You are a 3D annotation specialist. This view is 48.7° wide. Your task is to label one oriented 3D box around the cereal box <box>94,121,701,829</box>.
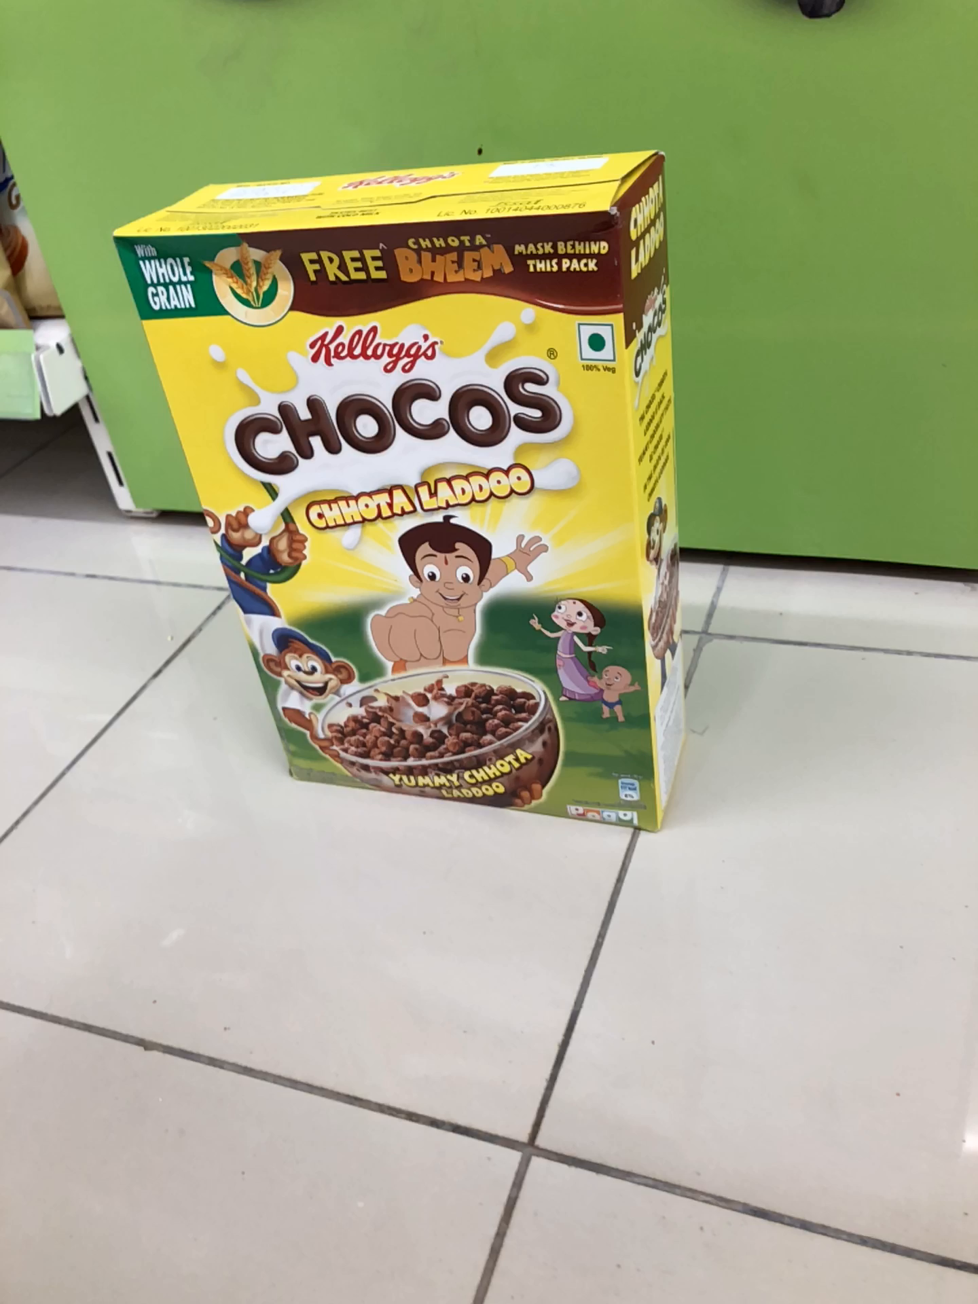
[{"bbox_3d":[-0.018,-0.060,0.438,0.190,0.258,0.070,6,38,20],"label":"cereal box"}]
